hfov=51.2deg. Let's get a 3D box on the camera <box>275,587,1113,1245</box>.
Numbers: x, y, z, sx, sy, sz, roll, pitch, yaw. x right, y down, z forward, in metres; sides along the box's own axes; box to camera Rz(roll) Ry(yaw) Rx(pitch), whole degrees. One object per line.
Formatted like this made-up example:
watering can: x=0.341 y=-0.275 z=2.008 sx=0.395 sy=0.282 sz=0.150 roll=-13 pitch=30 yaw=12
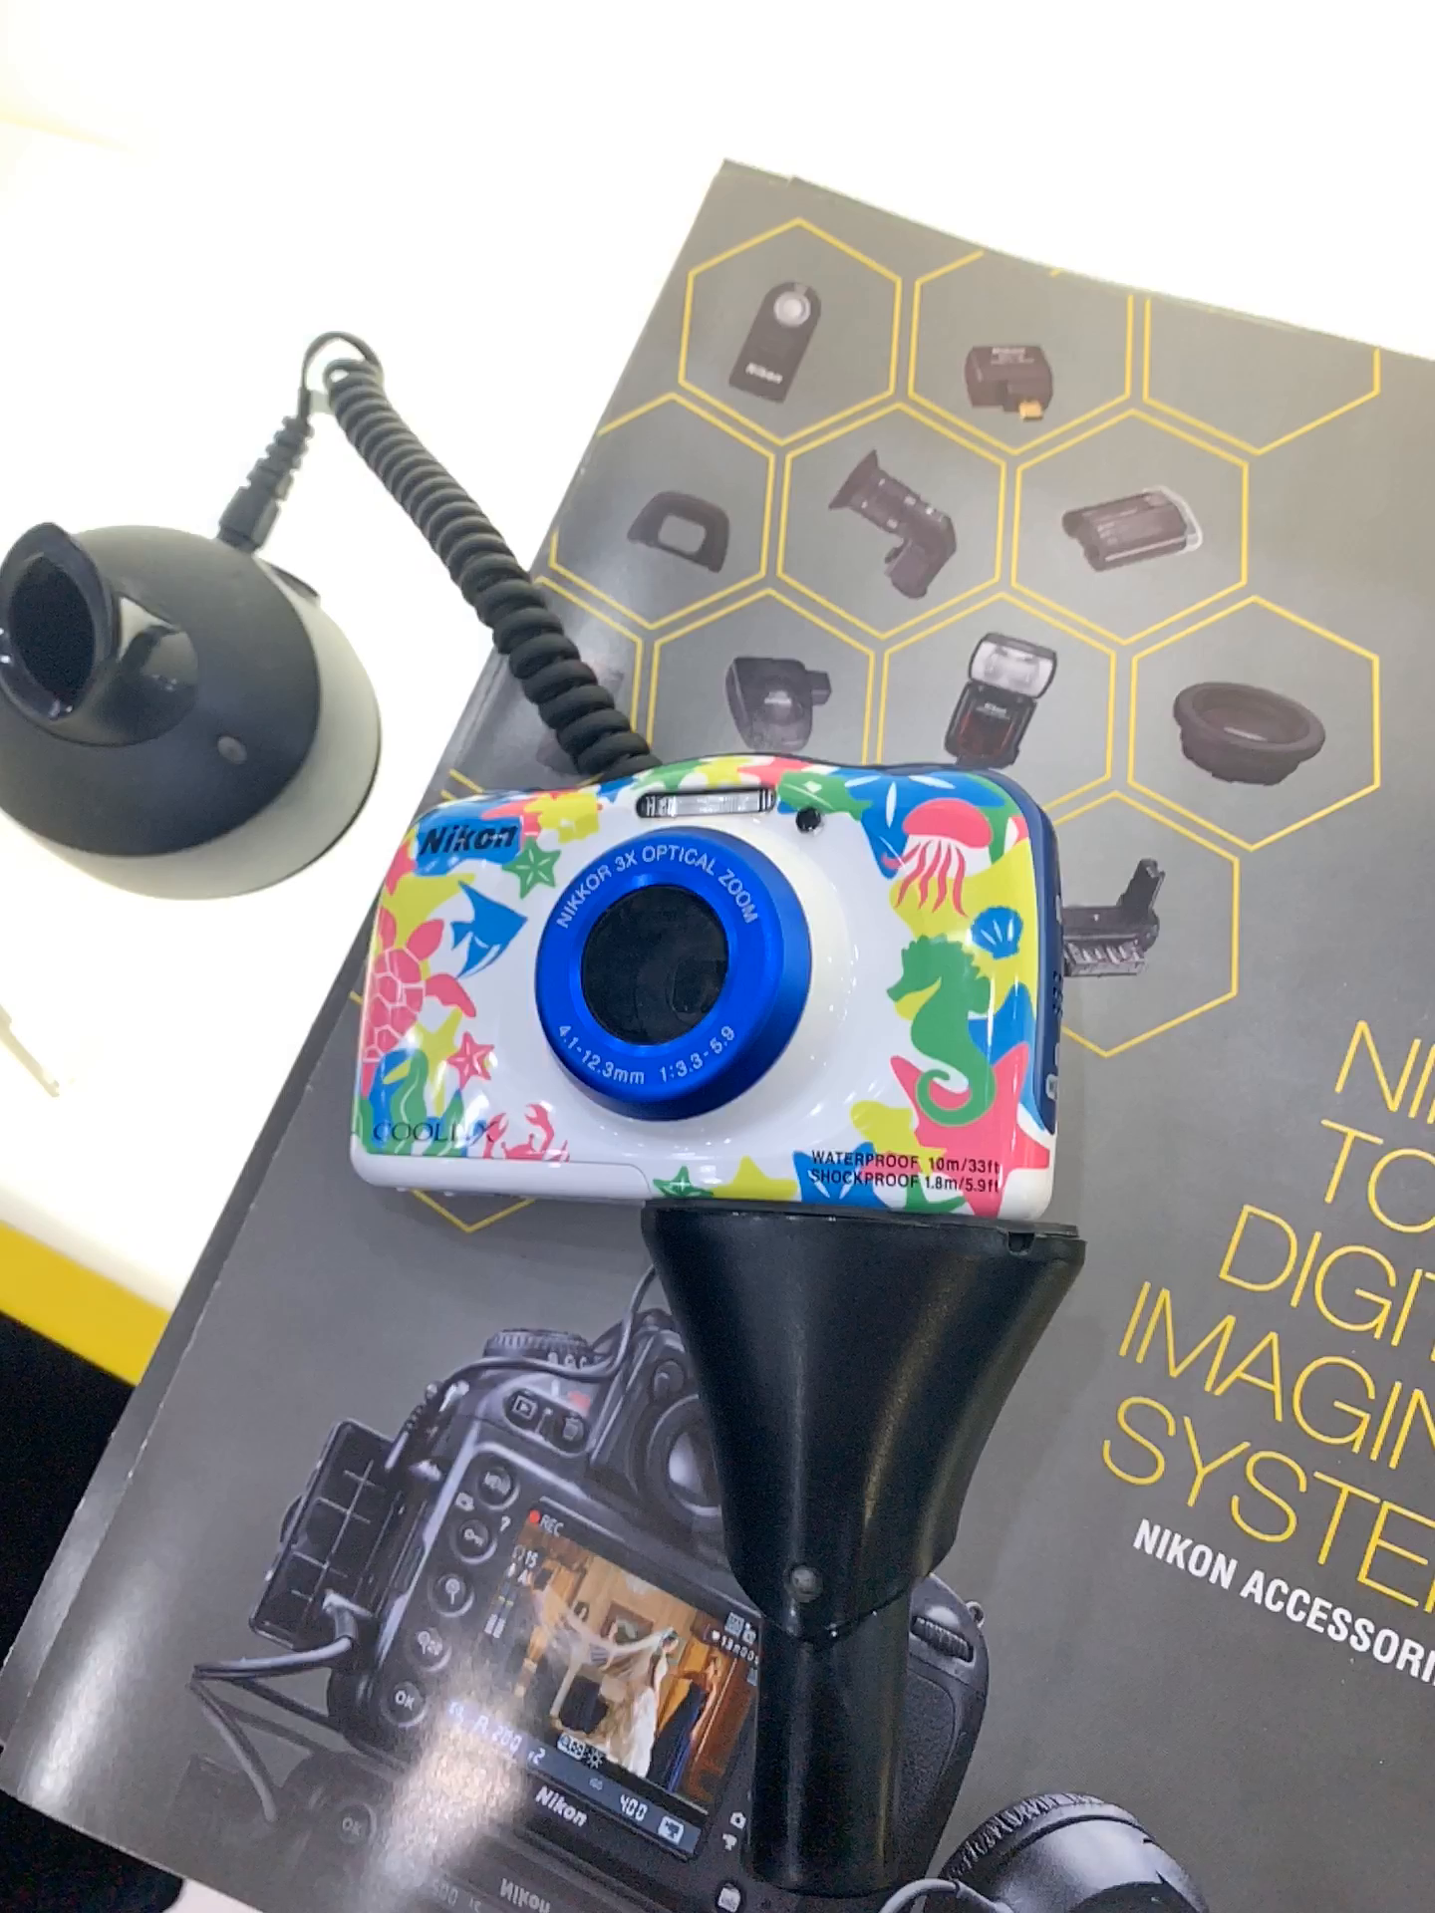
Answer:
camera: x=-0.003 y=-0.004 z=0.216 sx=0.110 sy=0.030 sz=0.080 roll=-1 pitch=72 yaw=23
